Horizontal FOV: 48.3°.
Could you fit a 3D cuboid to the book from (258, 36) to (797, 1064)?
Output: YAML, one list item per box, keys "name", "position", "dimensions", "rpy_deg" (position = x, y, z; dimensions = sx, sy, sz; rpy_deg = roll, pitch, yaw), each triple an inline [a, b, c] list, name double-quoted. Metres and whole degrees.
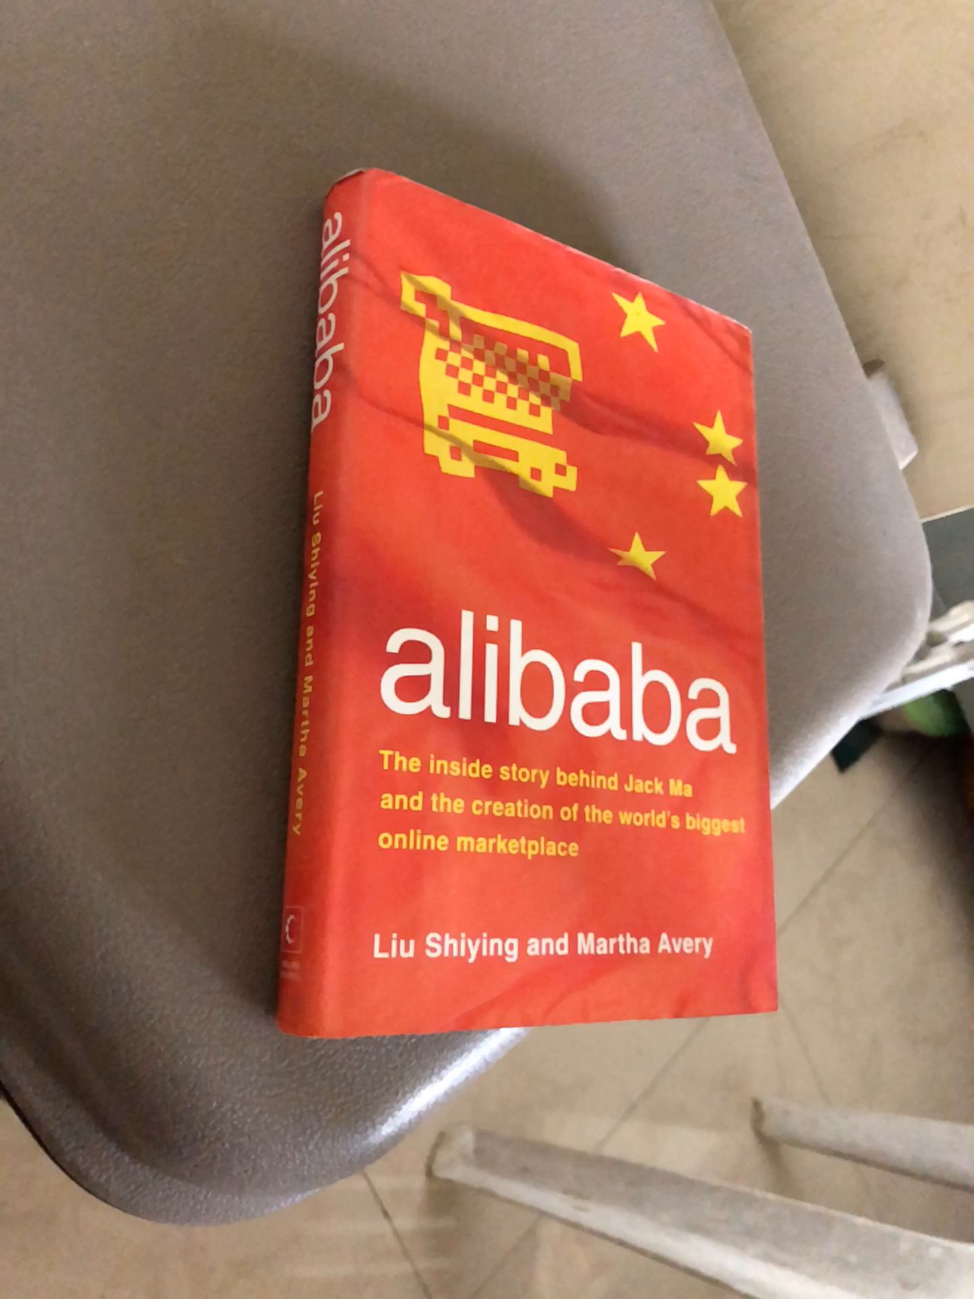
- name: "book"
  position: [0.018, -0.024, 0.327]
  dimensions: [0.161, 0.040, 0.260]
  rpy_deg: [9, 73, -38]
